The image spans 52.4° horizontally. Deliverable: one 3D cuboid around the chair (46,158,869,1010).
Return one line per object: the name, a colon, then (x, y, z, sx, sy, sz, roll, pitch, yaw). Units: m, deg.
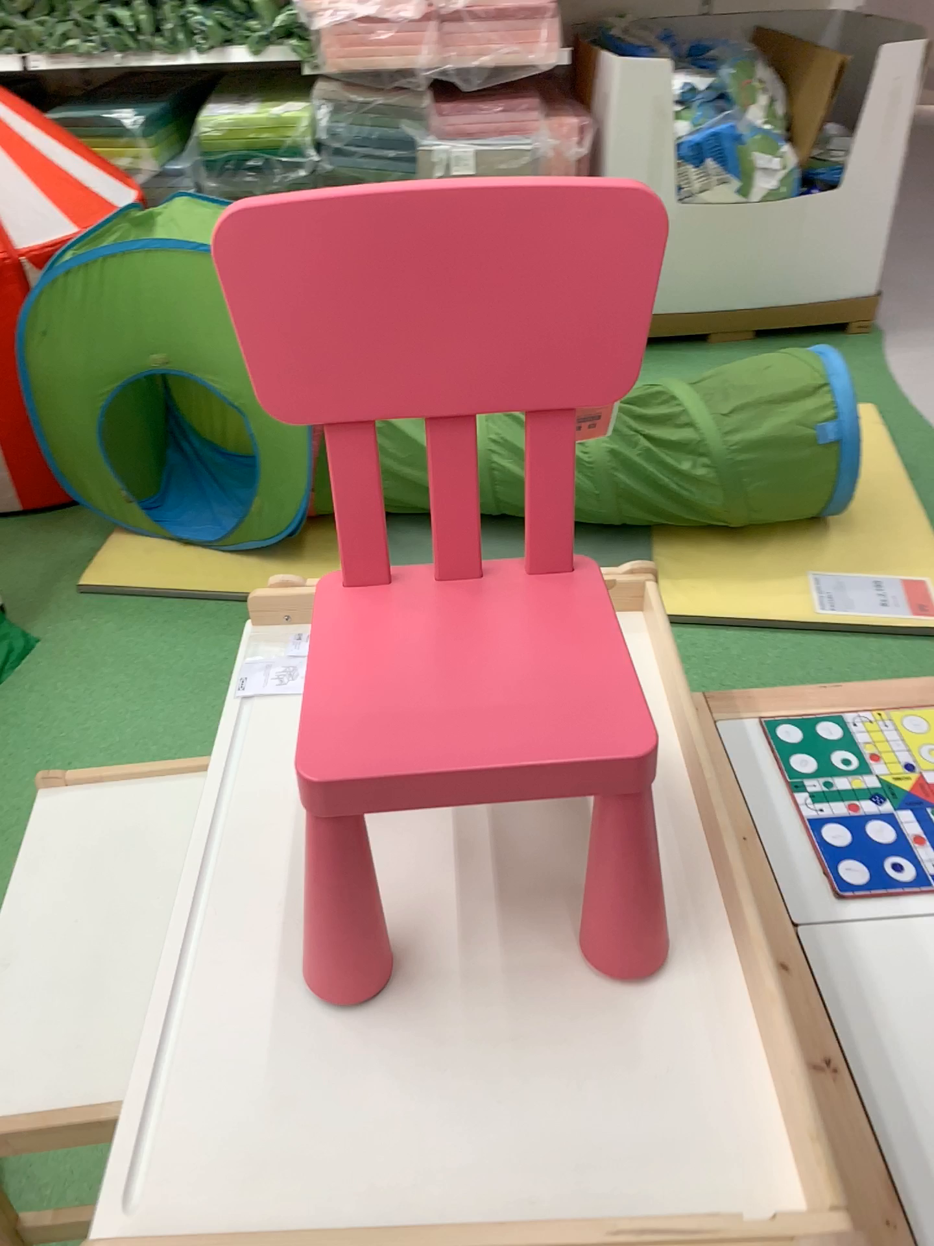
chair: (-0.004, -0.023, 0.826, 0.420, 0.598, 0.402, -3, 38, -1)
